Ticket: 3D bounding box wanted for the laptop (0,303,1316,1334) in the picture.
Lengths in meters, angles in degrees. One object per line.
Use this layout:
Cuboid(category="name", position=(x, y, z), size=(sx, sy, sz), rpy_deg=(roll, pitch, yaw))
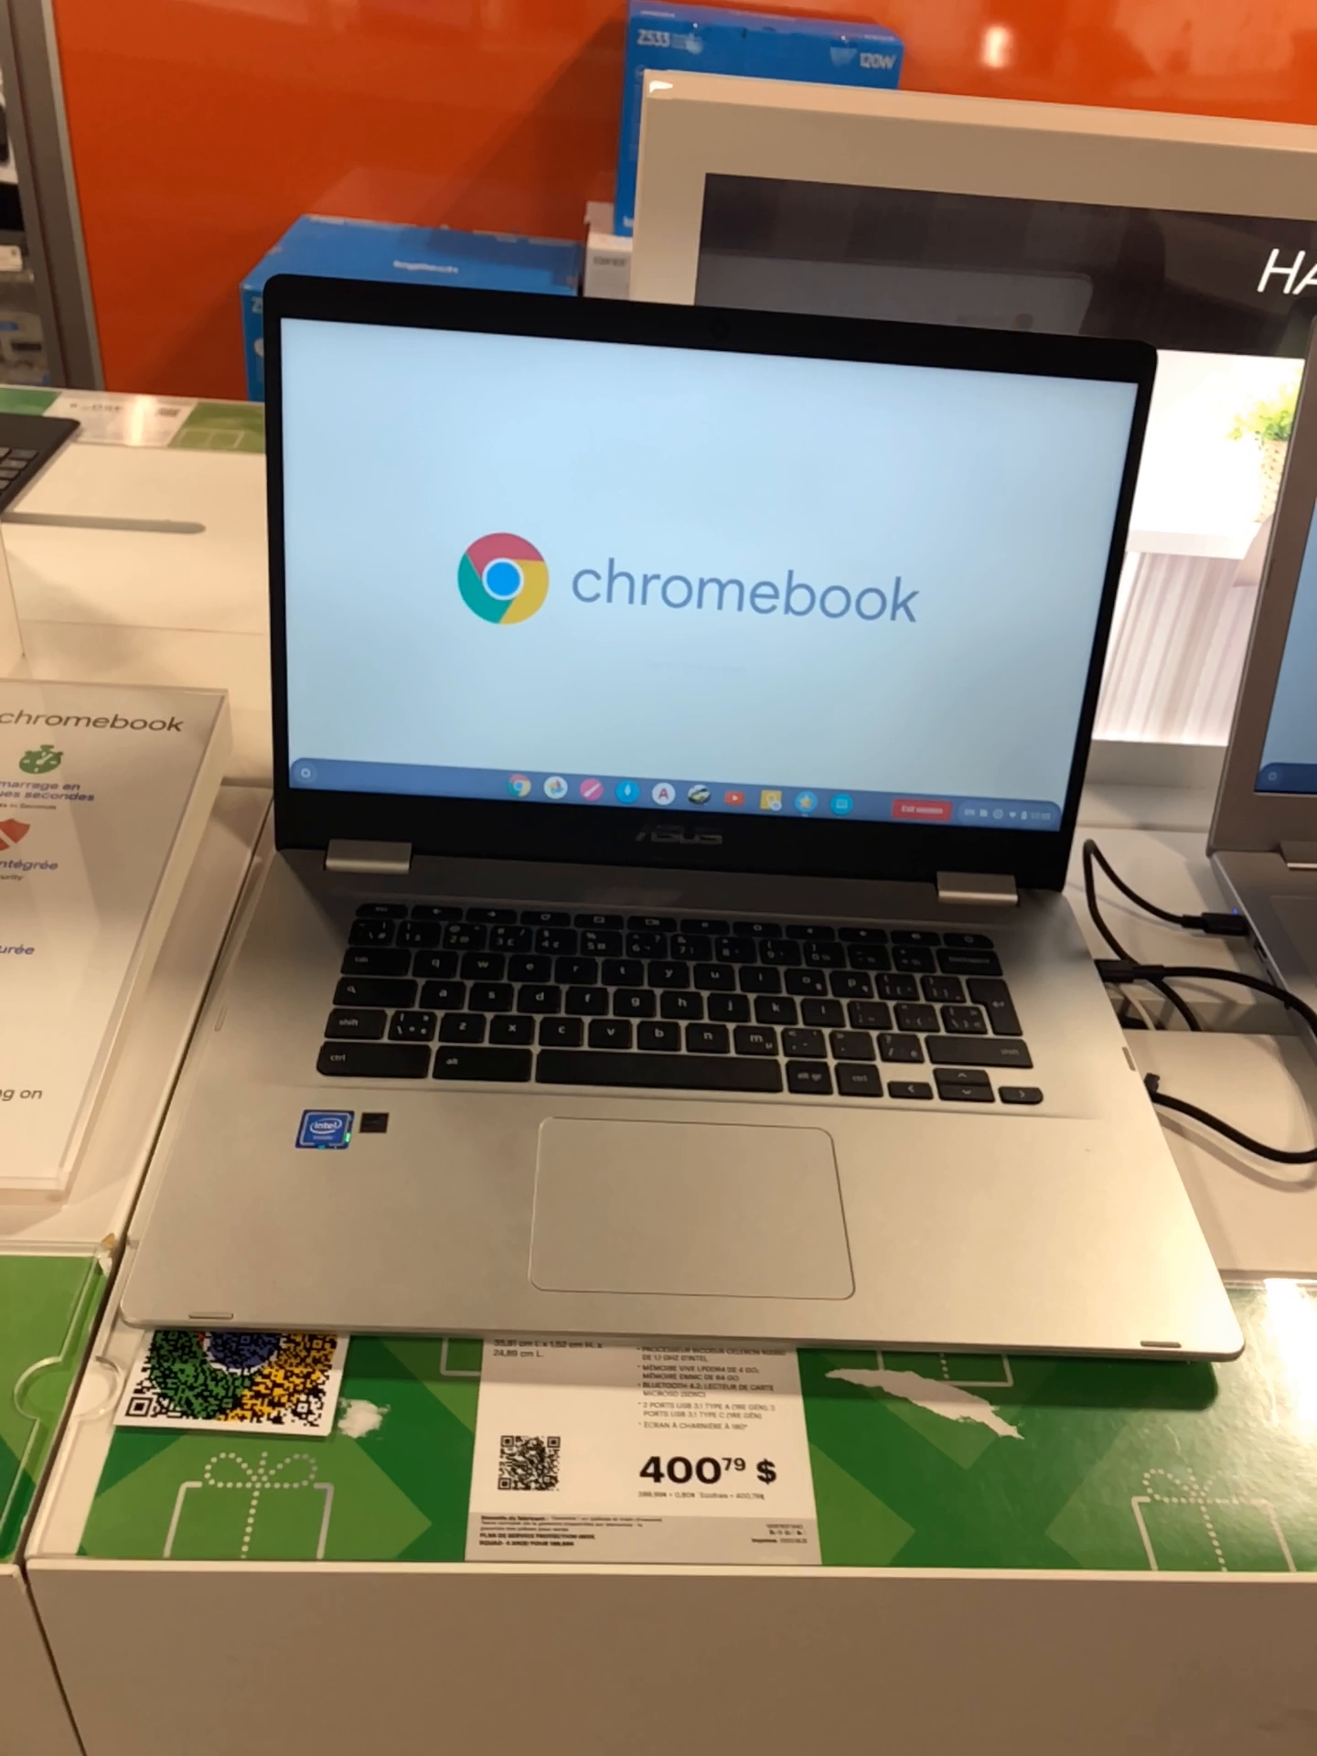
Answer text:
Cuboid(category="laptop", position=(0.023, -0.035, 0.499), size=(0.337, 0.225, 0.287), rpy_deg=(3, 35, -3))
